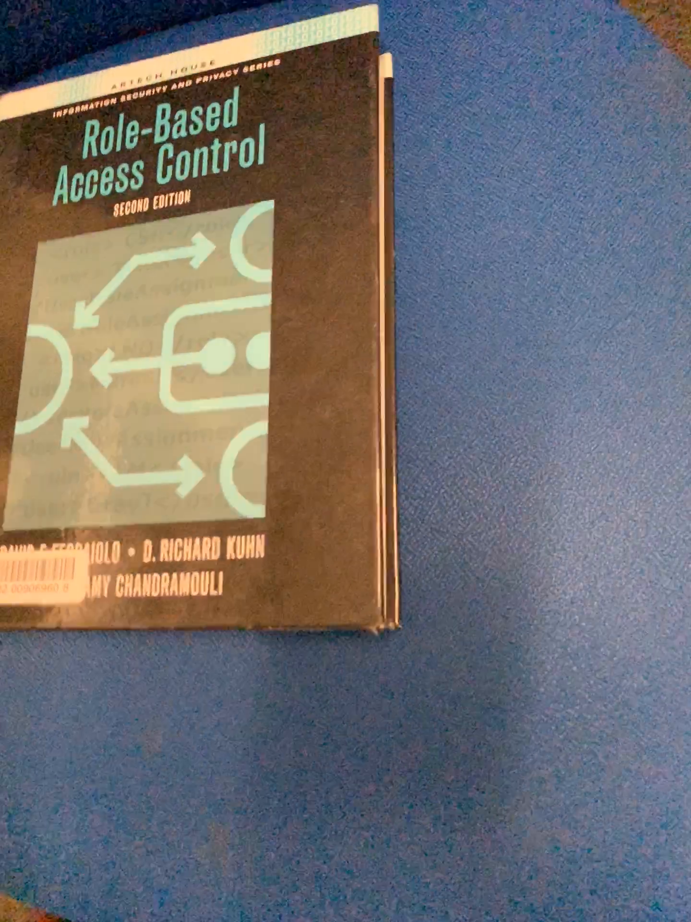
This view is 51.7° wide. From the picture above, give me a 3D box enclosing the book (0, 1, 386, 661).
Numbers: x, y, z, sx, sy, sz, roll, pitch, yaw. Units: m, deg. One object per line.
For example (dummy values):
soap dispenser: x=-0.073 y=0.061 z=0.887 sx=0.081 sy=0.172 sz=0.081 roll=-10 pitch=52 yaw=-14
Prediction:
book: x=-0.081 y=-0.048 z=0.280 sx=0.189 sy=0.030 sz=0.241 roll=-4 pitch=75 yaw=16
